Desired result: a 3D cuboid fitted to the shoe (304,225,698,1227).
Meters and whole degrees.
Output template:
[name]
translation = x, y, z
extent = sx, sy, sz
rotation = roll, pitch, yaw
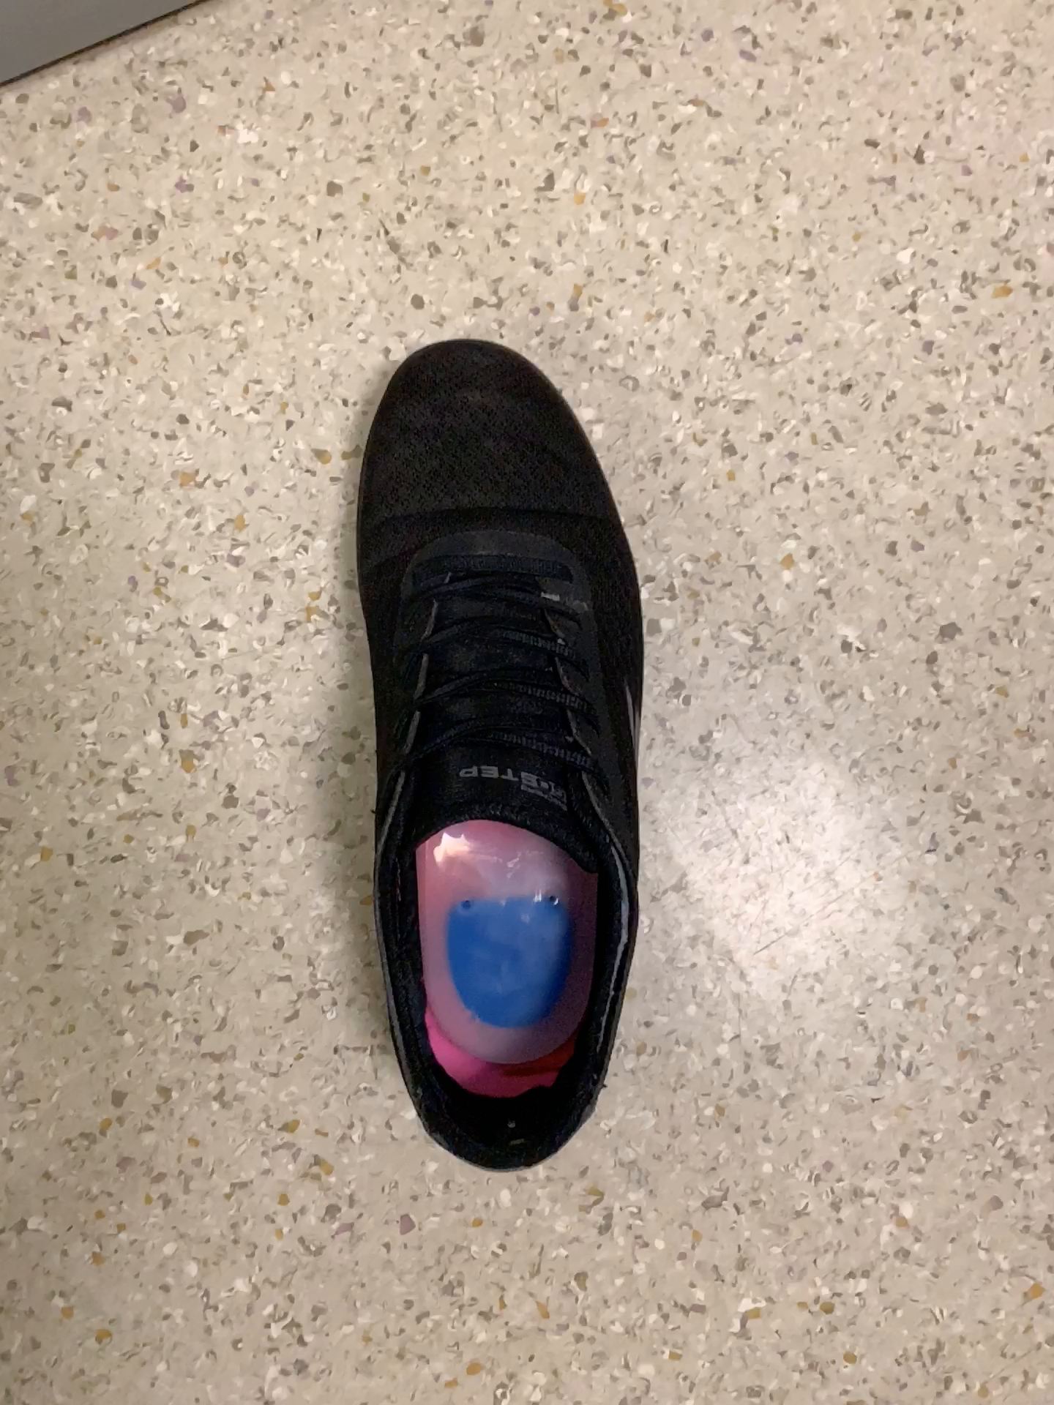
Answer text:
[shoe]
translation = -0.008, 0.007, 0.354
extent = 0.104, 0.100, 0.279
rotation = 1, 87, -2
